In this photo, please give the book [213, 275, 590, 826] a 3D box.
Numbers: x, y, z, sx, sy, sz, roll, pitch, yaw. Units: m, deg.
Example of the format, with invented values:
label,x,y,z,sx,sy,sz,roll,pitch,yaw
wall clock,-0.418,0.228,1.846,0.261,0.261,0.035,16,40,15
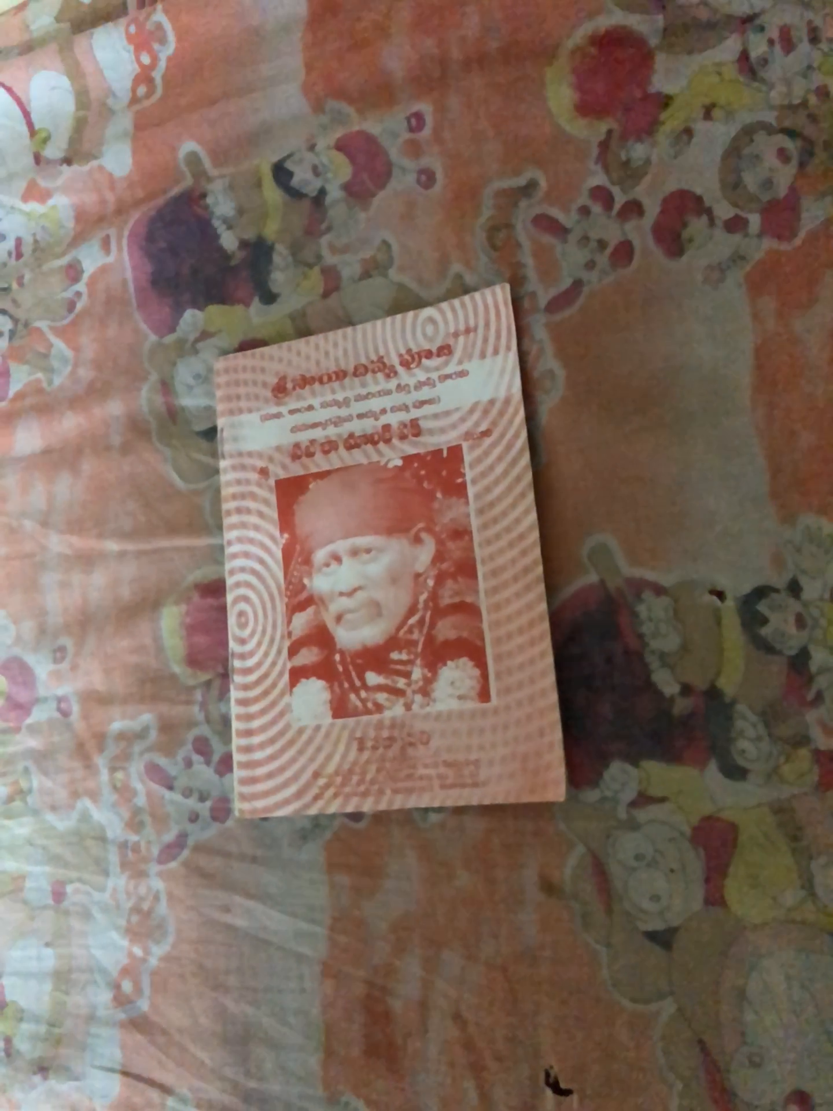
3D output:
label,x,y,z,sx,sy,sz,roll,pitch,yaw
book,-0.011,0.000,0.318,0.120,0.010,0.173,-8,78,18
